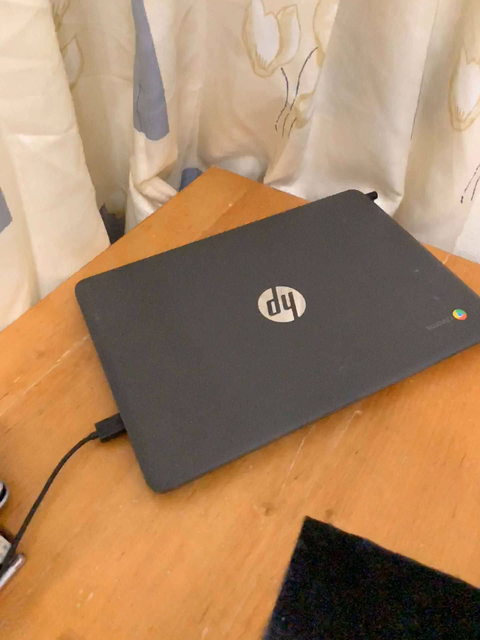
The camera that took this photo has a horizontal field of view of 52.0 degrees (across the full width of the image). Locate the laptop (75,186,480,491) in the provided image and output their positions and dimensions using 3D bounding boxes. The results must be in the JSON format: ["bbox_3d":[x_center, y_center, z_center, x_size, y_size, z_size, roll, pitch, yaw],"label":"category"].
[{"bbox_3d":[0.028,-0.014,0.364,0.261,0.004,0.185,-22,51,-16],"label":"laptop"}]
